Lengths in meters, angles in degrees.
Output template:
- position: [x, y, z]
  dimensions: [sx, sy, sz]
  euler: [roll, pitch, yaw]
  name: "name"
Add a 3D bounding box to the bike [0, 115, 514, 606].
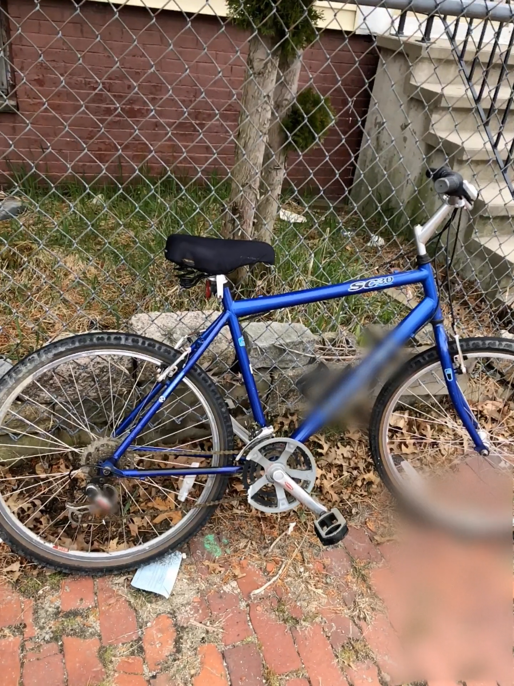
- position: [0.122, 0.012, 1.496]
  dimensions: [1.664, 1.024, 0.683]
  euler: [0, 28, -7]
  name: "bike"
